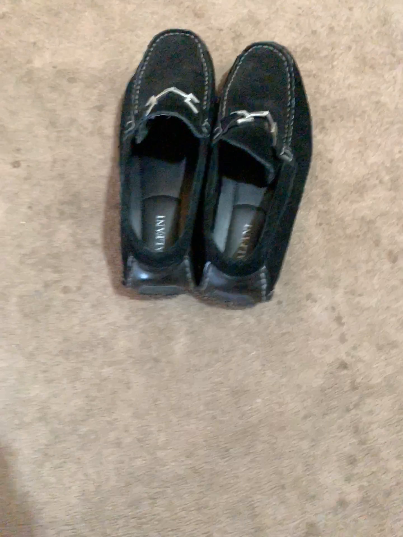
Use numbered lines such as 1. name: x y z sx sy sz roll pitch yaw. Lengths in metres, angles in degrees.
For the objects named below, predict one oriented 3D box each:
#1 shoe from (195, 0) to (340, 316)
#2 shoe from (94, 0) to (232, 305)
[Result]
1. shoe: 0.058 -0.116 0.387 0.100 0.100 0.301 5 74 -2
2. shoe: -0.030 -0.124 0.392 0.100 0.100 0.301 1 74 -3
